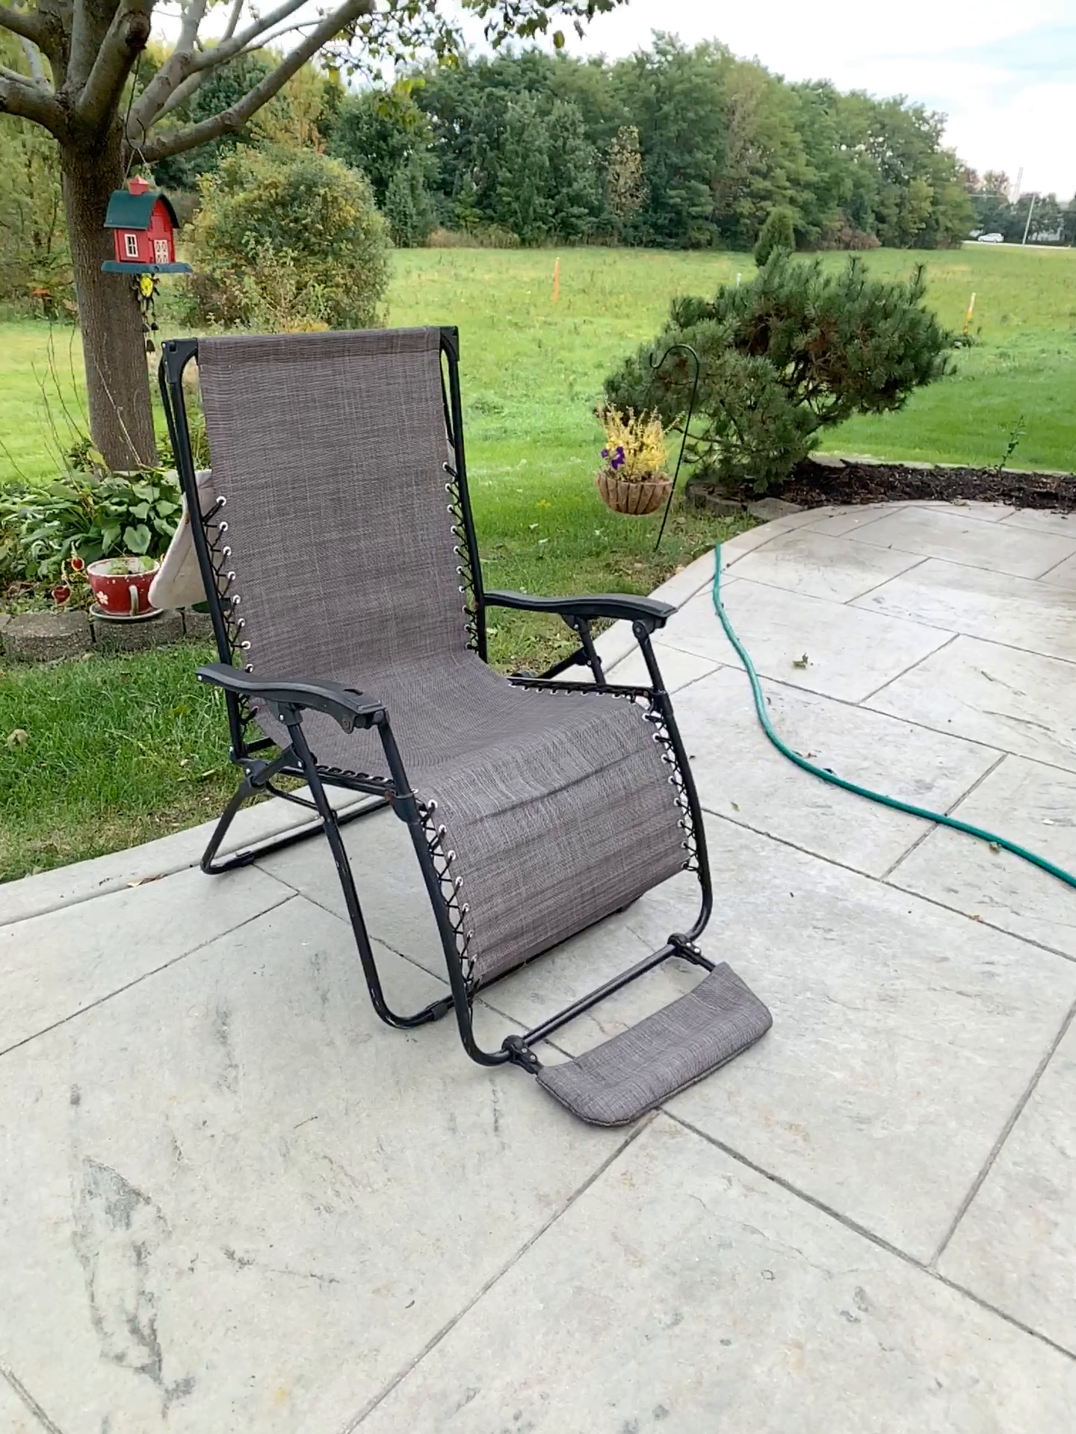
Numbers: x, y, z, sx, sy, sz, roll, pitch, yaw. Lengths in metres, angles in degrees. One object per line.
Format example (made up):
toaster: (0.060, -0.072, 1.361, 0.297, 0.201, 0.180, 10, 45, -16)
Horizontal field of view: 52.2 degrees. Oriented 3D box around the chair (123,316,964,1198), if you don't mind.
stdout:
chair: (-0.064, -0.087, 1.951, 0.745, 1.057, 1.147, -20, 33, -41)
